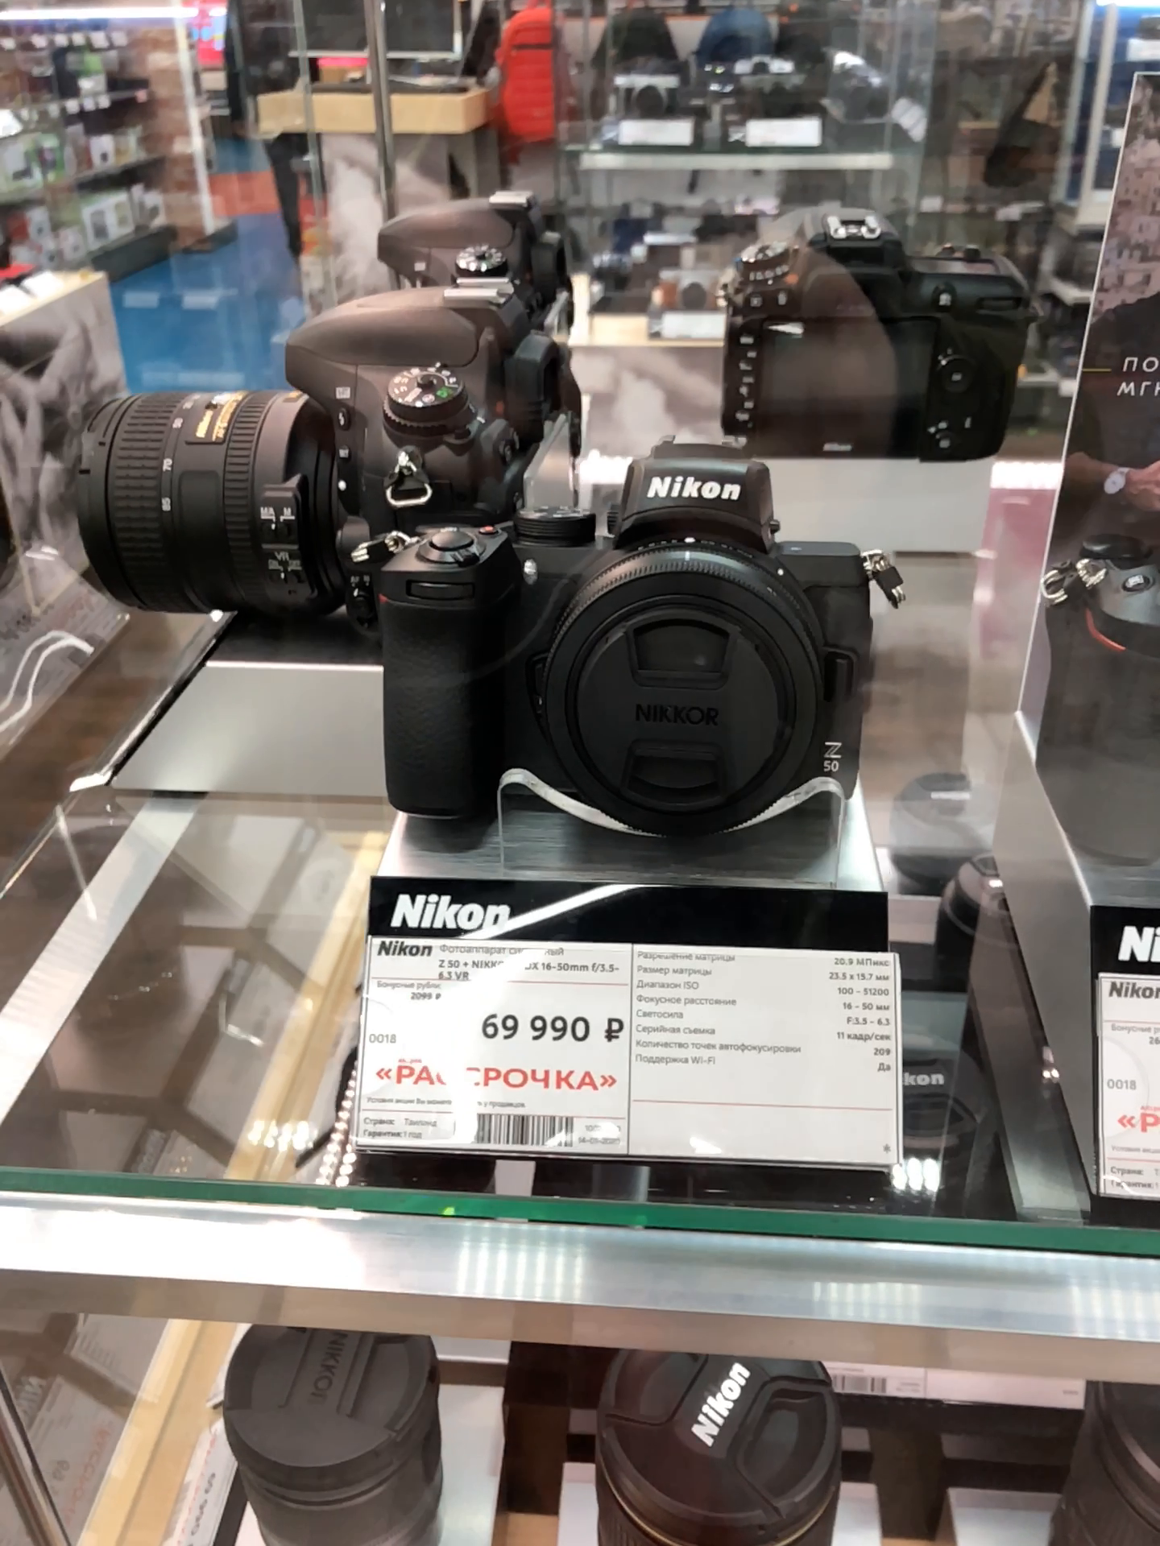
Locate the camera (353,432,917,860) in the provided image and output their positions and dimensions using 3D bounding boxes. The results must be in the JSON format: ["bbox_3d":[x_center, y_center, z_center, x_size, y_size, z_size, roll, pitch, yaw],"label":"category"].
[{"bbox_3d":[0.015,-0.040,0.345,0.126,0.092,0.090,2,19,5],"label":"camera"}]

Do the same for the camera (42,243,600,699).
[{"bbox_3d":[-0.078,-0.113,0.455,0.150,0.111,0.130,6,31,6],"label":"camera"}]
